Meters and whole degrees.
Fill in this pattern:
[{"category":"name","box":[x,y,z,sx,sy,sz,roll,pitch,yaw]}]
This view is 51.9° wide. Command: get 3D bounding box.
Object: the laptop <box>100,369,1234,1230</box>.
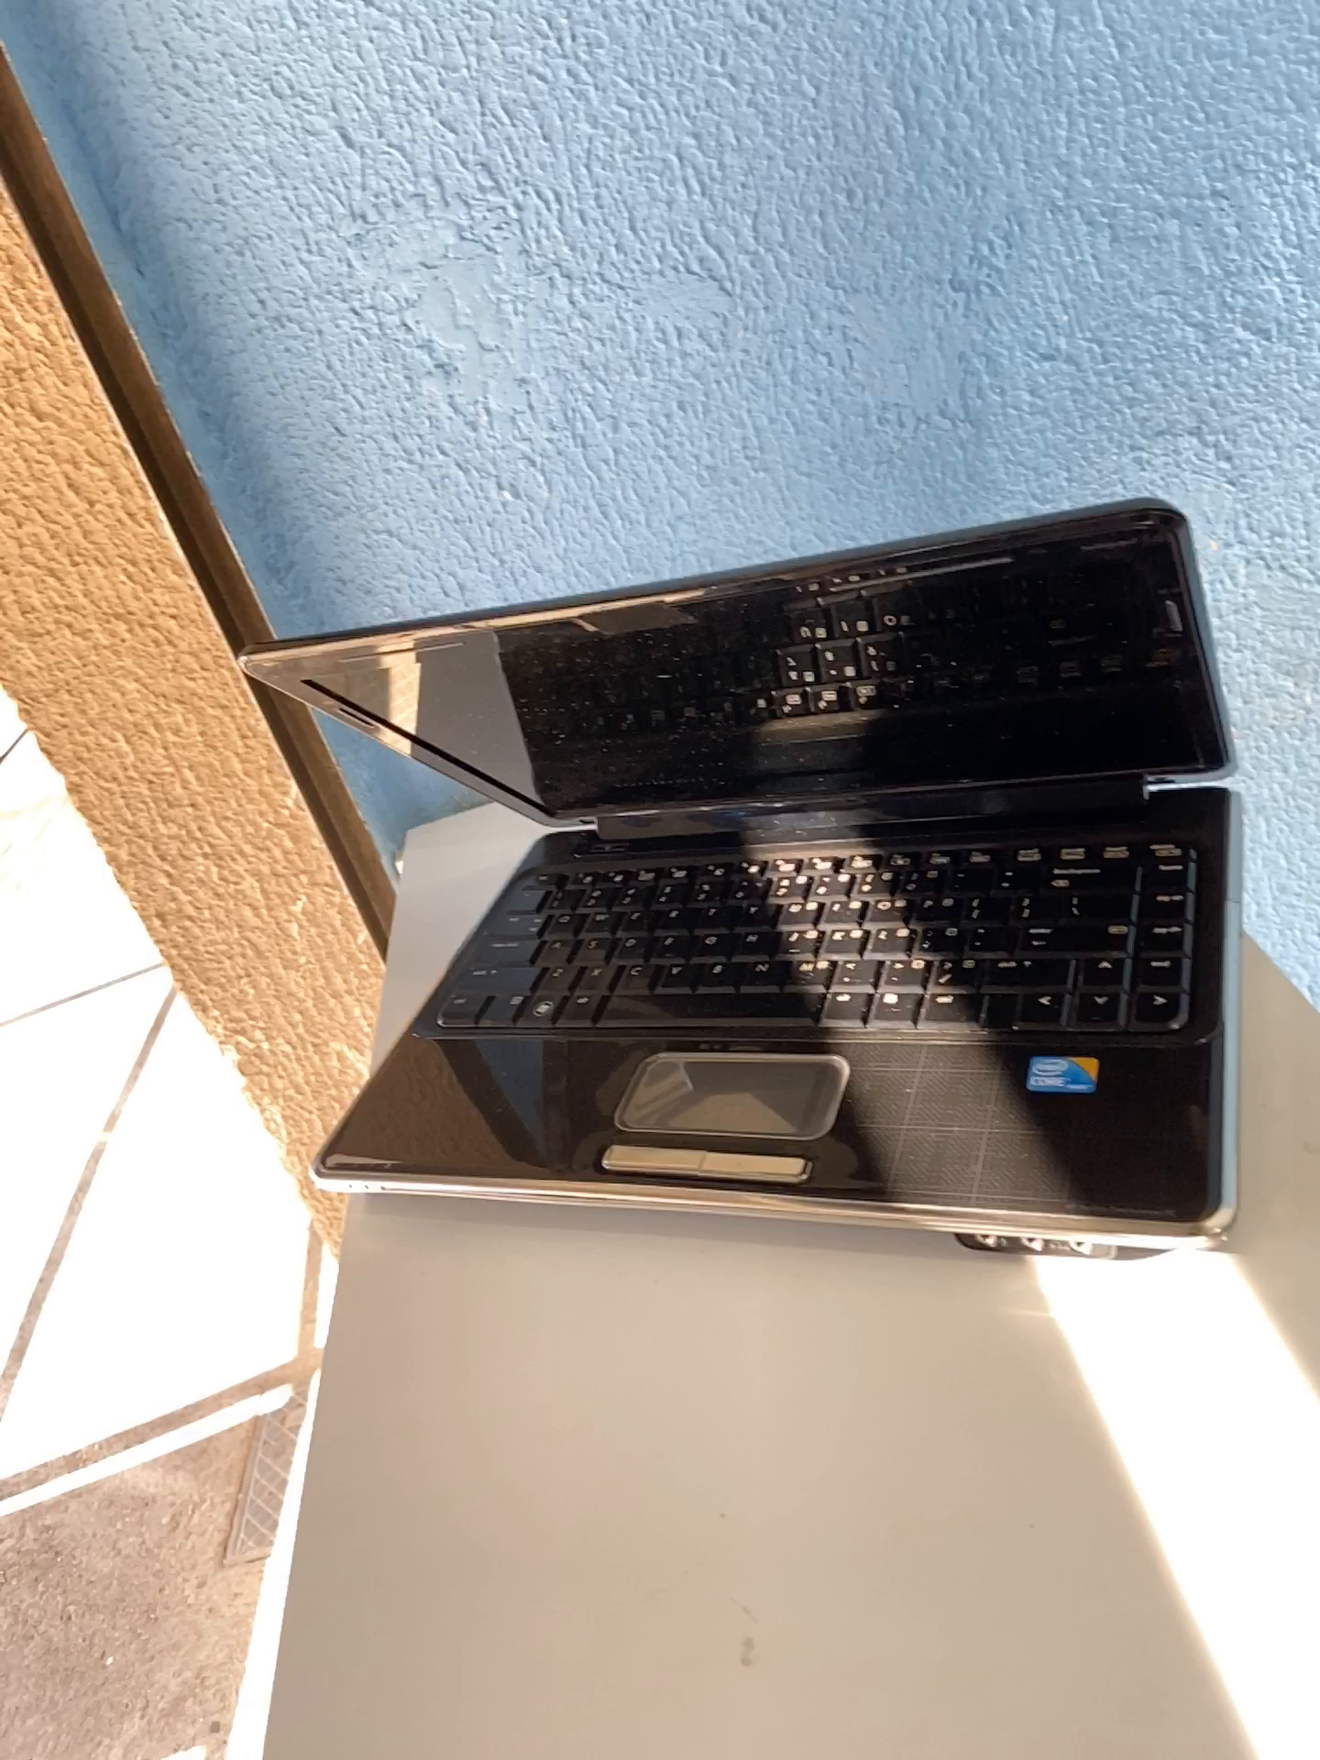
[{"category":"laptop","box":[0.024,-0.031,0.491,0.325,0.165,0.226,-3,34,26]}]
